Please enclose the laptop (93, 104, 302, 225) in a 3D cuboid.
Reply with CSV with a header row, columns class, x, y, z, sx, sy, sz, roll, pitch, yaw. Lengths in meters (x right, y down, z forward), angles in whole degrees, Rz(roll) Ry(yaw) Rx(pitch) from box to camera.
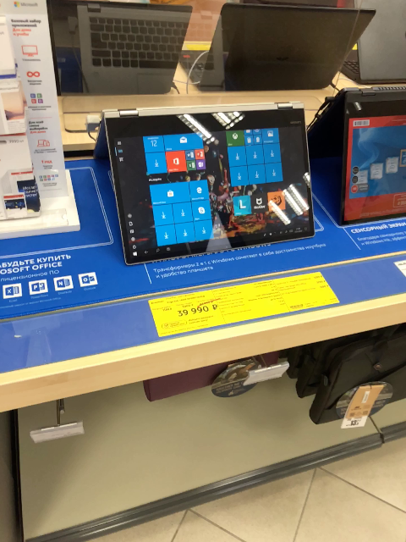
class,x,y,z,sx,sy,sz,roll,pitch,yaw
laptop,-0.033,-0.193,0.880,0.336,0.150,0.211,-9,17,-17
